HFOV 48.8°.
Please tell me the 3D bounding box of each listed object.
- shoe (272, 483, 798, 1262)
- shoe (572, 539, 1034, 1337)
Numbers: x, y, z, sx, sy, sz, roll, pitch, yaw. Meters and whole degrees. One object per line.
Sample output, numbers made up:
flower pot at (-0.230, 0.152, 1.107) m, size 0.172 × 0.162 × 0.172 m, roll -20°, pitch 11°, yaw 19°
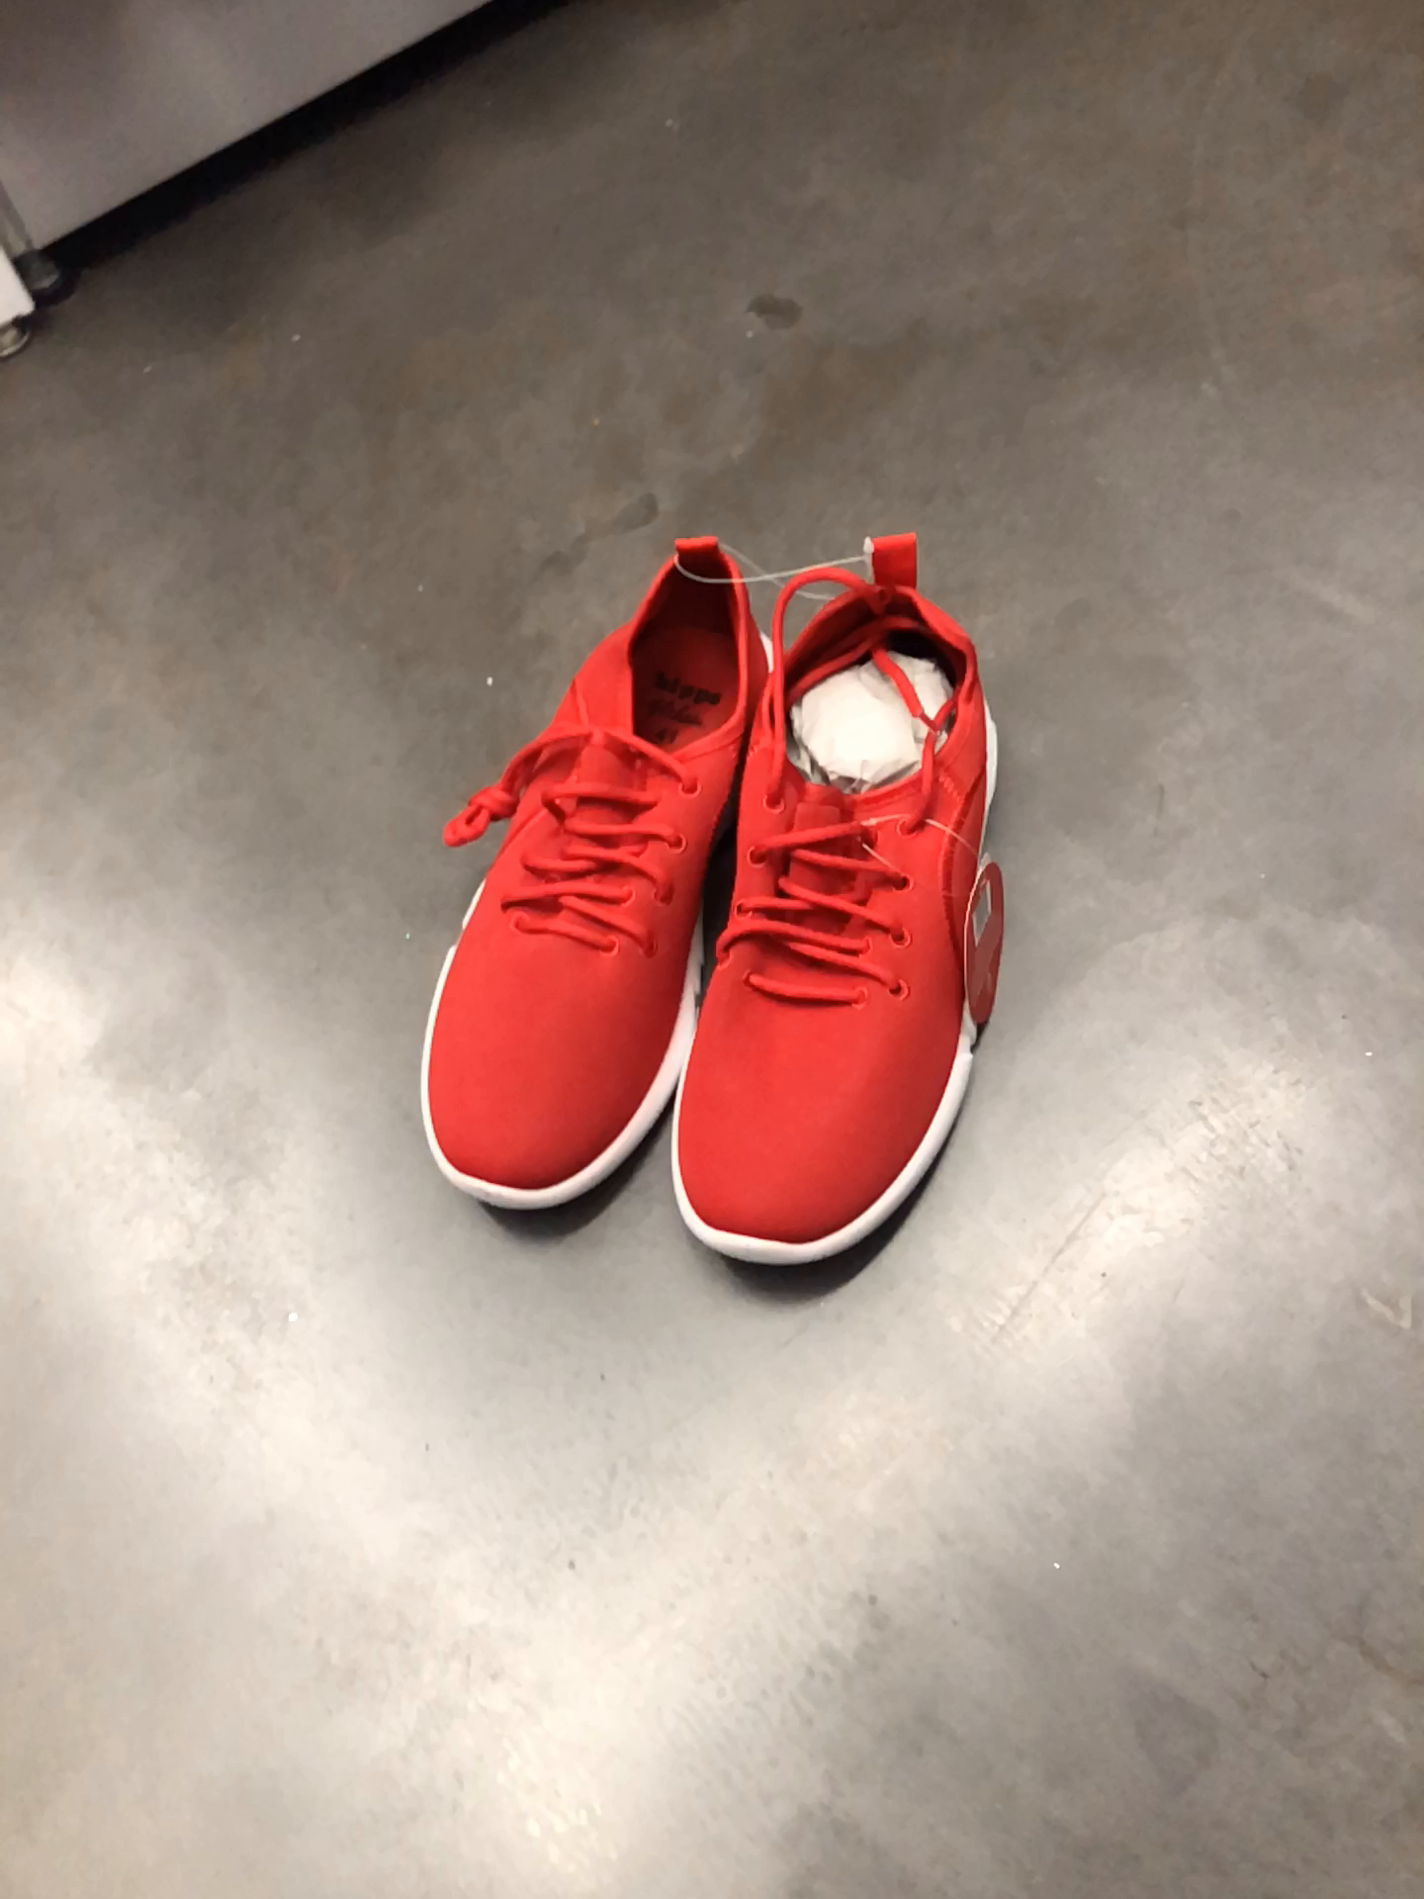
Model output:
shoe at (-0.048, -0.033, 0.561) m, size 0.100 × 0.100 × 0.251 m, roll 10°, pitch 63°, yaw 11°
shoe at (0.041, -0.010, 0.550) m, size 0.100 × 0.100 × 0.251 m, roll 9°, pitch 63°, yaw 11°
